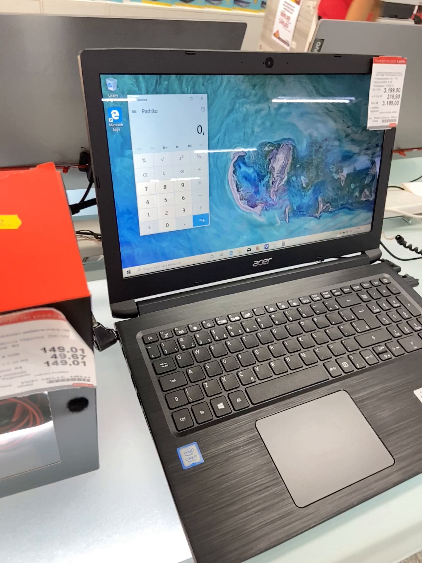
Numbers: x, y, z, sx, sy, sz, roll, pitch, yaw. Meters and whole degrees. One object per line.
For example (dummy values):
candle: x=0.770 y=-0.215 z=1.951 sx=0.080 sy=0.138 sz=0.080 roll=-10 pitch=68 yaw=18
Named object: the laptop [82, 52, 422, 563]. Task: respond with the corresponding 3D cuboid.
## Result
laptop: x=0.111 y=-0.031 z=0.411 sx=0.376 sy=0.227 sz=0.354 roll=-12 pitch=49 yaw=-22
